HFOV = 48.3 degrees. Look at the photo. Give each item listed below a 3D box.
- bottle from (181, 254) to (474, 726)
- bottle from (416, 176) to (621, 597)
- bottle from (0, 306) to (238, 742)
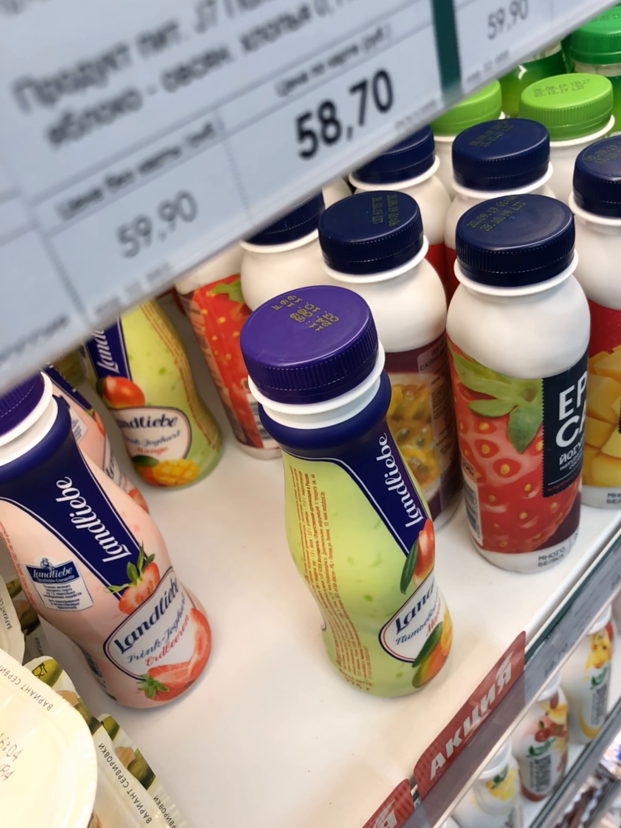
[{"bbox_3d":[0.019,0.038,0.251,0.054,0.177,0.055,-8,43,8],"label":"bottle"},{"bbox_3d":[0.087,-0.001,0.287,0.048,0.172,0.051,-8,43,8],"label":"bottle"},{"bbox_3d":[-0.089,0.053,0.270,0.054,0.178,0.057,-8,43,8],"label":"bottle"}]
